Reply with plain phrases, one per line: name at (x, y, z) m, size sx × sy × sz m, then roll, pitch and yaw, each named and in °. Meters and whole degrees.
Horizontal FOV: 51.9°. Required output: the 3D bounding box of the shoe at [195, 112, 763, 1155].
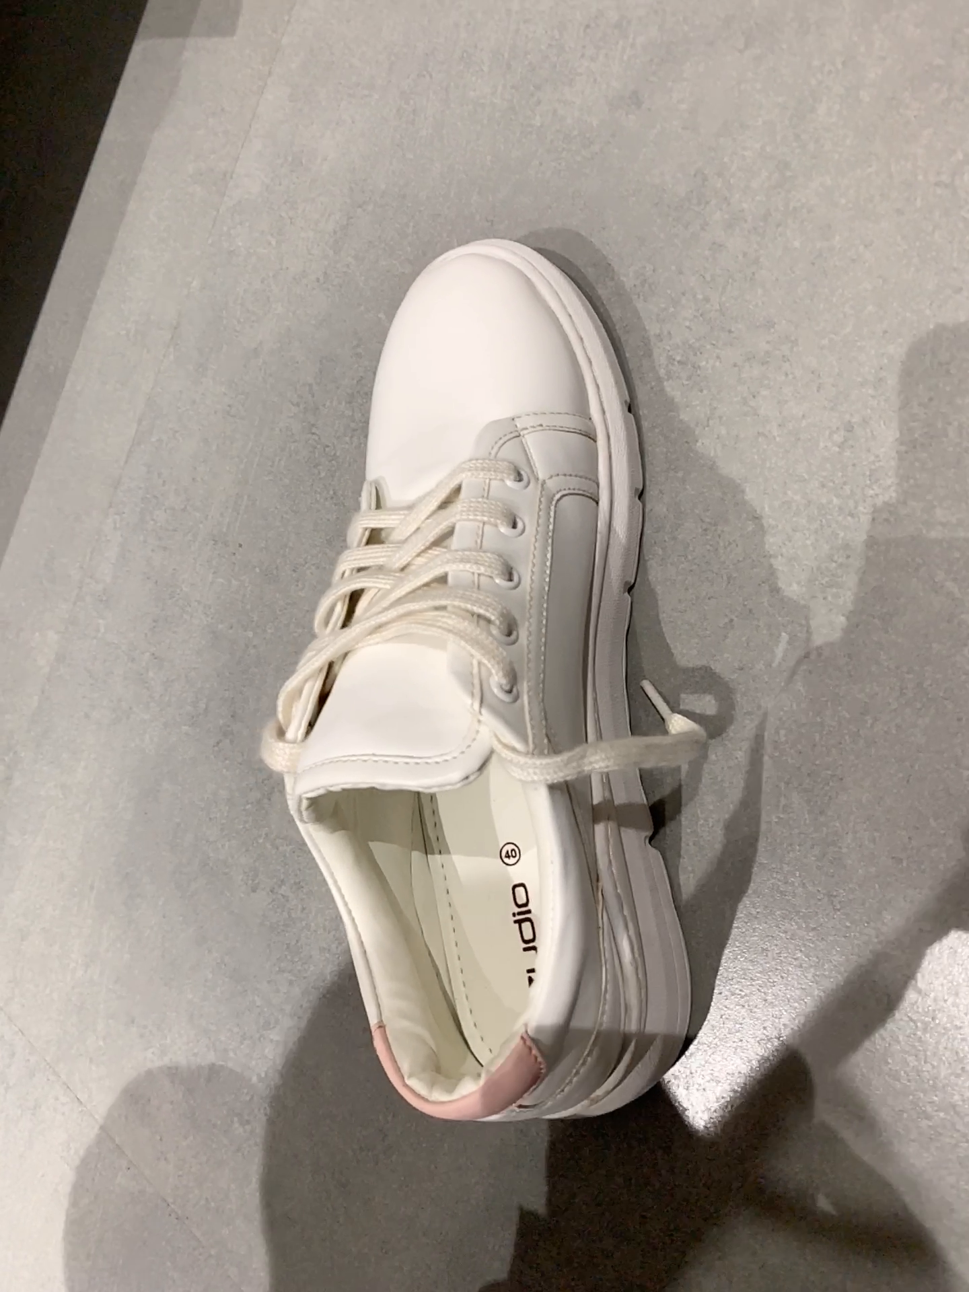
shoe at (-0.005, 0.001, 0.301) m, size 0.111 × 0.100 × 0.250 m, roll -13°, pitch 76°, yaw 30°
